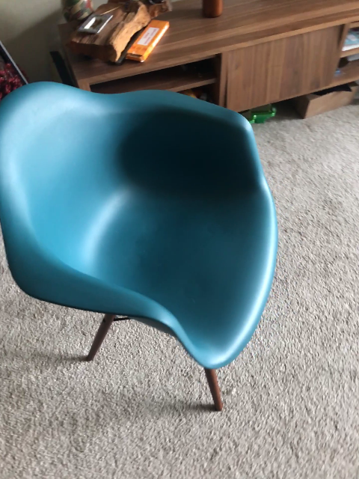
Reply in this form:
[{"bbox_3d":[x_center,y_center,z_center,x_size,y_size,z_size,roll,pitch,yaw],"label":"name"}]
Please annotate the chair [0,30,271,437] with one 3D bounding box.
[{"bbox_3d":[-0.099,0.052,0.997,0.480,0.845,0.574,11,56,13],"label":"chair"}]
